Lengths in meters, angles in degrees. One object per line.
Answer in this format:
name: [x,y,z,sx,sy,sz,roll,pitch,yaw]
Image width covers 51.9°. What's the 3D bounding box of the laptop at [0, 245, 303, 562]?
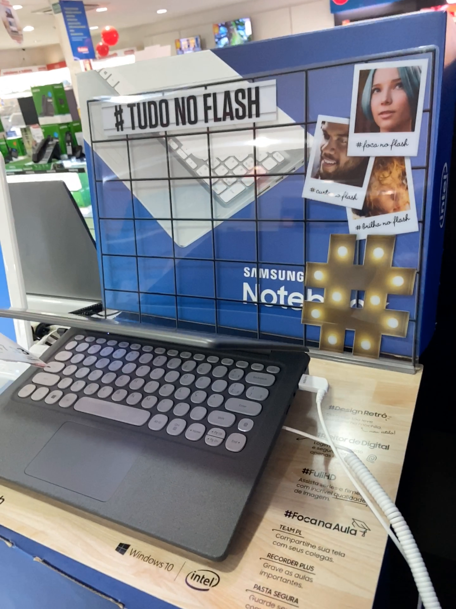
laptop: [-0.117,0.054,0.455,0.323,0.114,0.211,5,37,27]
